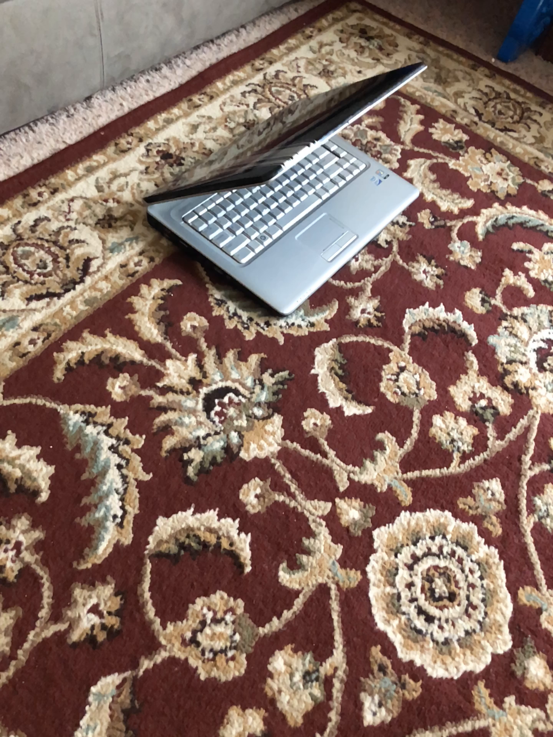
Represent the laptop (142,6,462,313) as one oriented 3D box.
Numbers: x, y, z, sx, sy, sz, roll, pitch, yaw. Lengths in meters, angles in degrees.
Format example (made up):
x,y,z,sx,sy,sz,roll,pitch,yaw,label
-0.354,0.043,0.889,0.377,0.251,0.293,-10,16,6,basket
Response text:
x,y,z,sx,sy,sz,roll,pitch,yaw,label
0.035,-0.289,0.804,0.244,0.164,0.342,36,57,13,laptop
